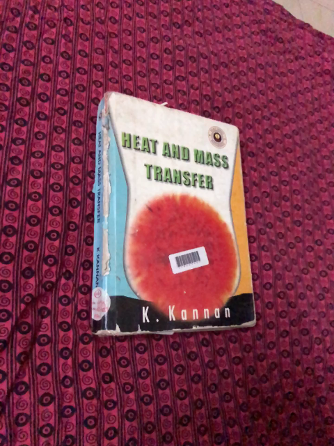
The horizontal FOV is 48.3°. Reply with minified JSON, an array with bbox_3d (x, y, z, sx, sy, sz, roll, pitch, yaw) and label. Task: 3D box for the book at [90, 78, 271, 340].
[{"bbox_3d":[0.016,-0.010,0.400,0.185,0.039,0.249,7,72,-29],"label":"book"}]
